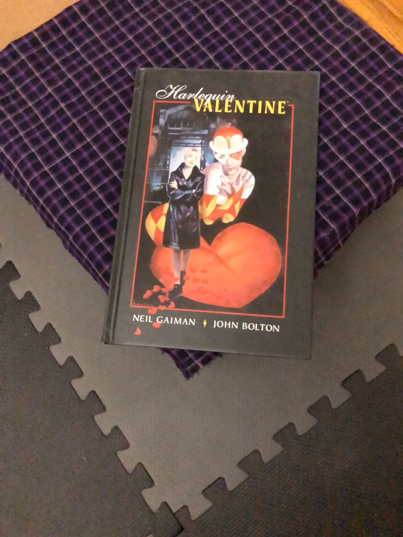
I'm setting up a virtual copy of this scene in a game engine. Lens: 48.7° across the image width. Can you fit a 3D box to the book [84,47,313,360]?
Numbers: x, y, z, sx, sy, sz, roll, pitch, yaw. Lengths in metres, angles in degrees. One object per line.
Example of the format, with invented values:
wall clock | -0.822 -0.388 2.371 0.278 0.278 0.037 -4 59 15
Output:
book | 0.004 -0.068 0.395 0.180 0.020 0.280 3 77 5
